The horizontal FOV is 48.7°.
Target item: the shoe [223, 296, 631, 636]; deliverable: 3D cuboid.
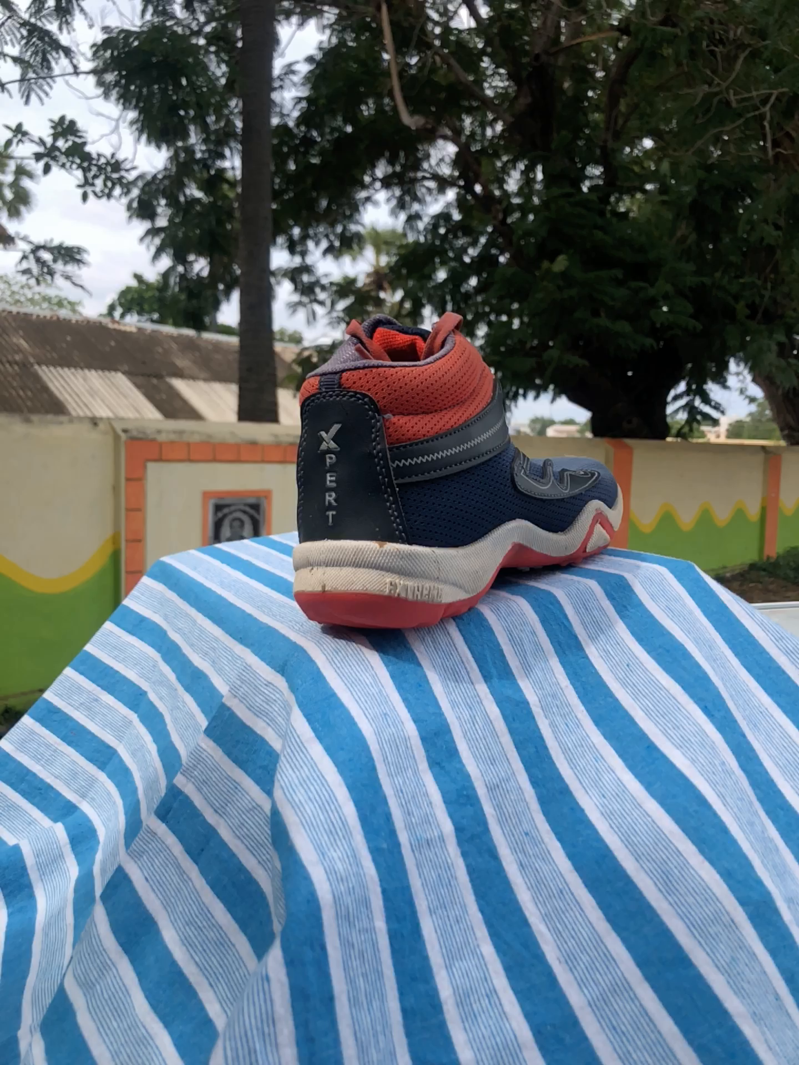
[{"bbox_3d":[0.035,-0.037,0.455,0.100,0.120,0.271,4,6,27],"label":"shoe"}]
